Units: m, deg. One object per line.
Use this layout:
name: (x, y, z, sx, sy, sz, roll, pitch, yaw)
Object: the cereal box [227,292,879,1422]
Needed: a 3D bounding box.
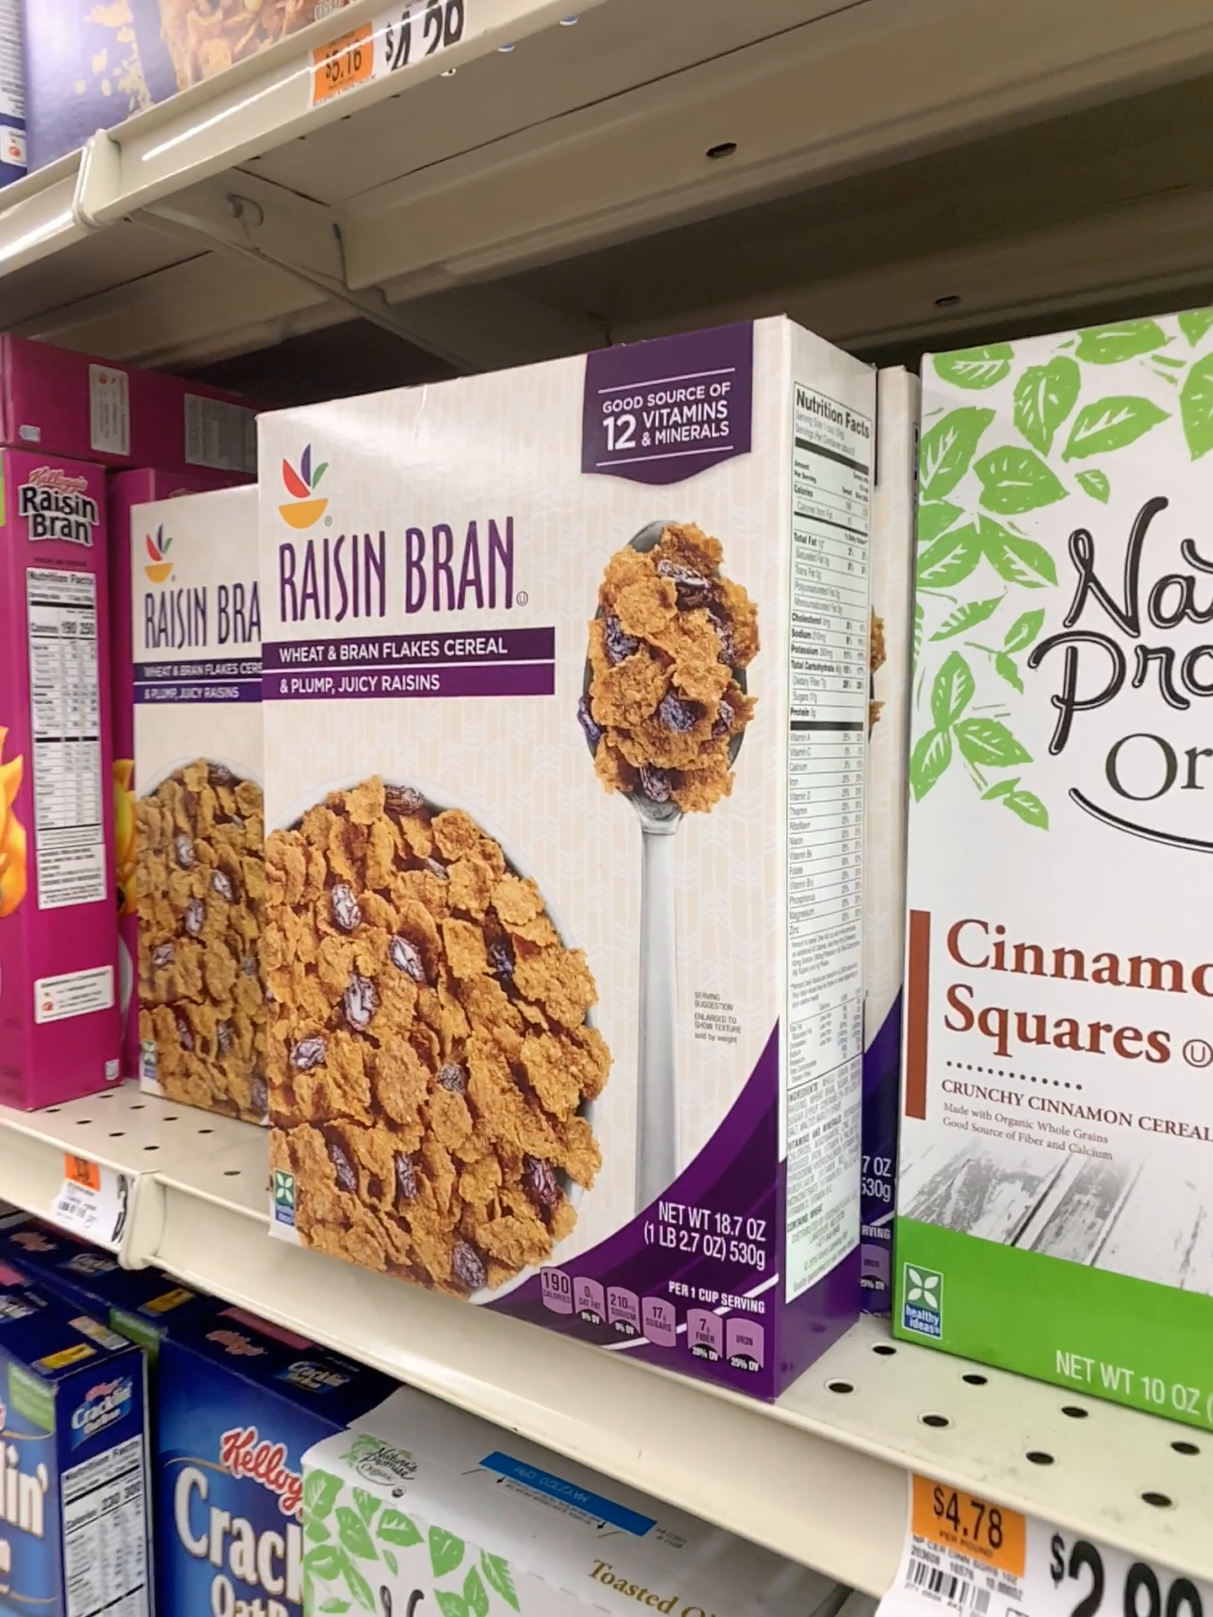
cereal box: (-0.021, 0.009, 0.379, 0.190, 0.270, 0.070, 2, 5, 35)
